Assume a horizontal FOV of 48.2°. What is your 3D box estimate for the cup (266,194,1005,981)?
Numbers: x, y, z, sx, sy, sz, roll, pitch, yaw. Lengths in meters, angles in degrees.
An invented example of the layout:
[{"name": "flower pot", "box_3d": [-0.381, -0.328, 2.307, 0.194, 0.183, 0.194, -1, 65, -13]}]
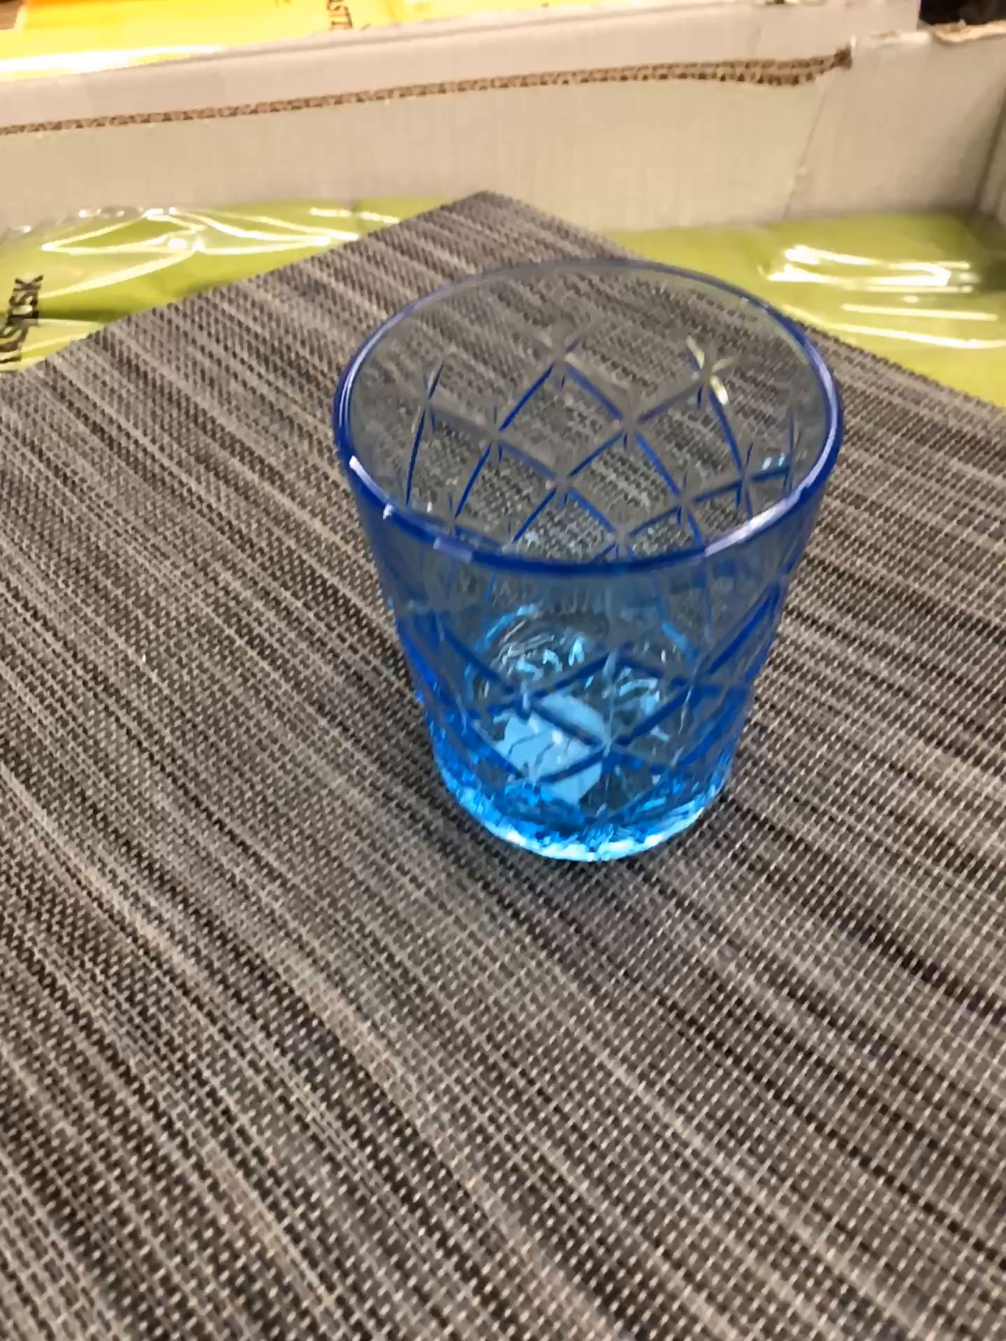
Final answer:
[{"name": "cup", "box_3d": [0.020, -0.016, 0.203, 0.090, 0.090, 0.080, -19, 50, -15]}]
